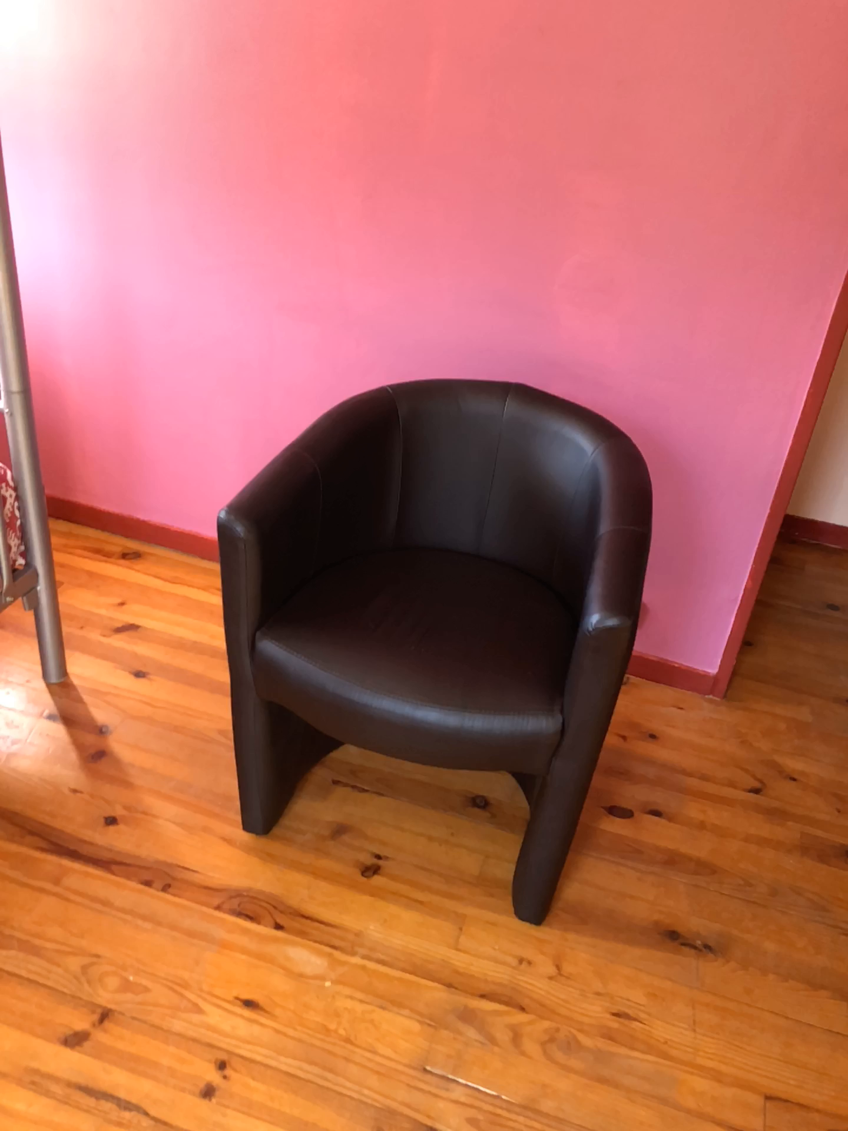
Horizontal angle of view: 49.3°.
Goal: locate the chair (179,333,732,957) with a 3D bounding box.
[{"bbox_3d":[0.069,0.084,1.510,0.670,0.646,0.594,14,33,12],"label":"chair"}]
